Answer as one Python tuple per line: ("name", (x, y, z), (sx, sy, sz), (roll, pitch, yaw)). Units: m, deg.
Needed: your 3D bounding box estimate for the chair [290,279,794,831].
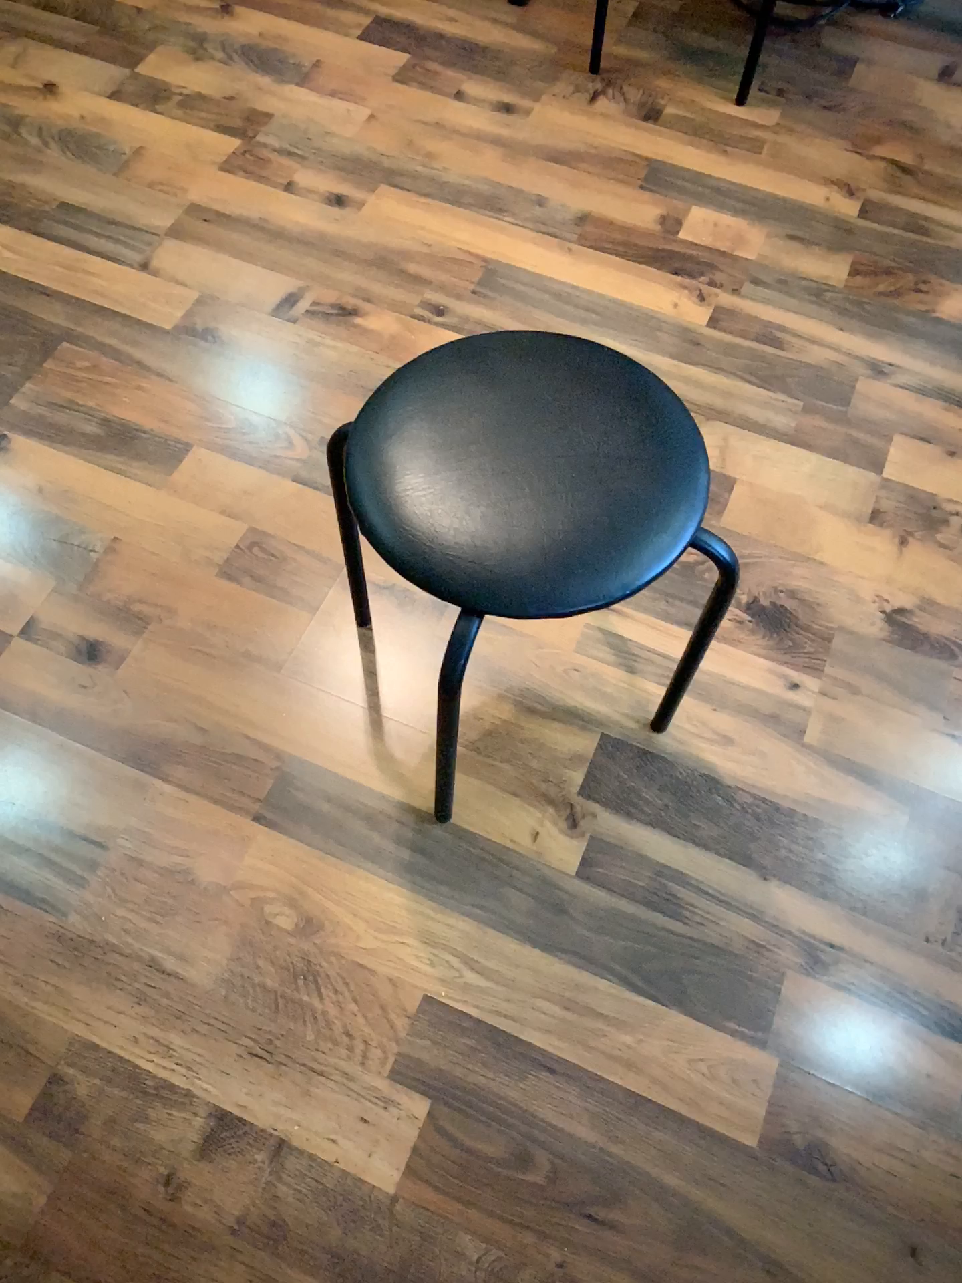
("chair", (0.044, -0.073, 1.082), (0.350, 0.427, 0.332), (-21, 64, -12))
